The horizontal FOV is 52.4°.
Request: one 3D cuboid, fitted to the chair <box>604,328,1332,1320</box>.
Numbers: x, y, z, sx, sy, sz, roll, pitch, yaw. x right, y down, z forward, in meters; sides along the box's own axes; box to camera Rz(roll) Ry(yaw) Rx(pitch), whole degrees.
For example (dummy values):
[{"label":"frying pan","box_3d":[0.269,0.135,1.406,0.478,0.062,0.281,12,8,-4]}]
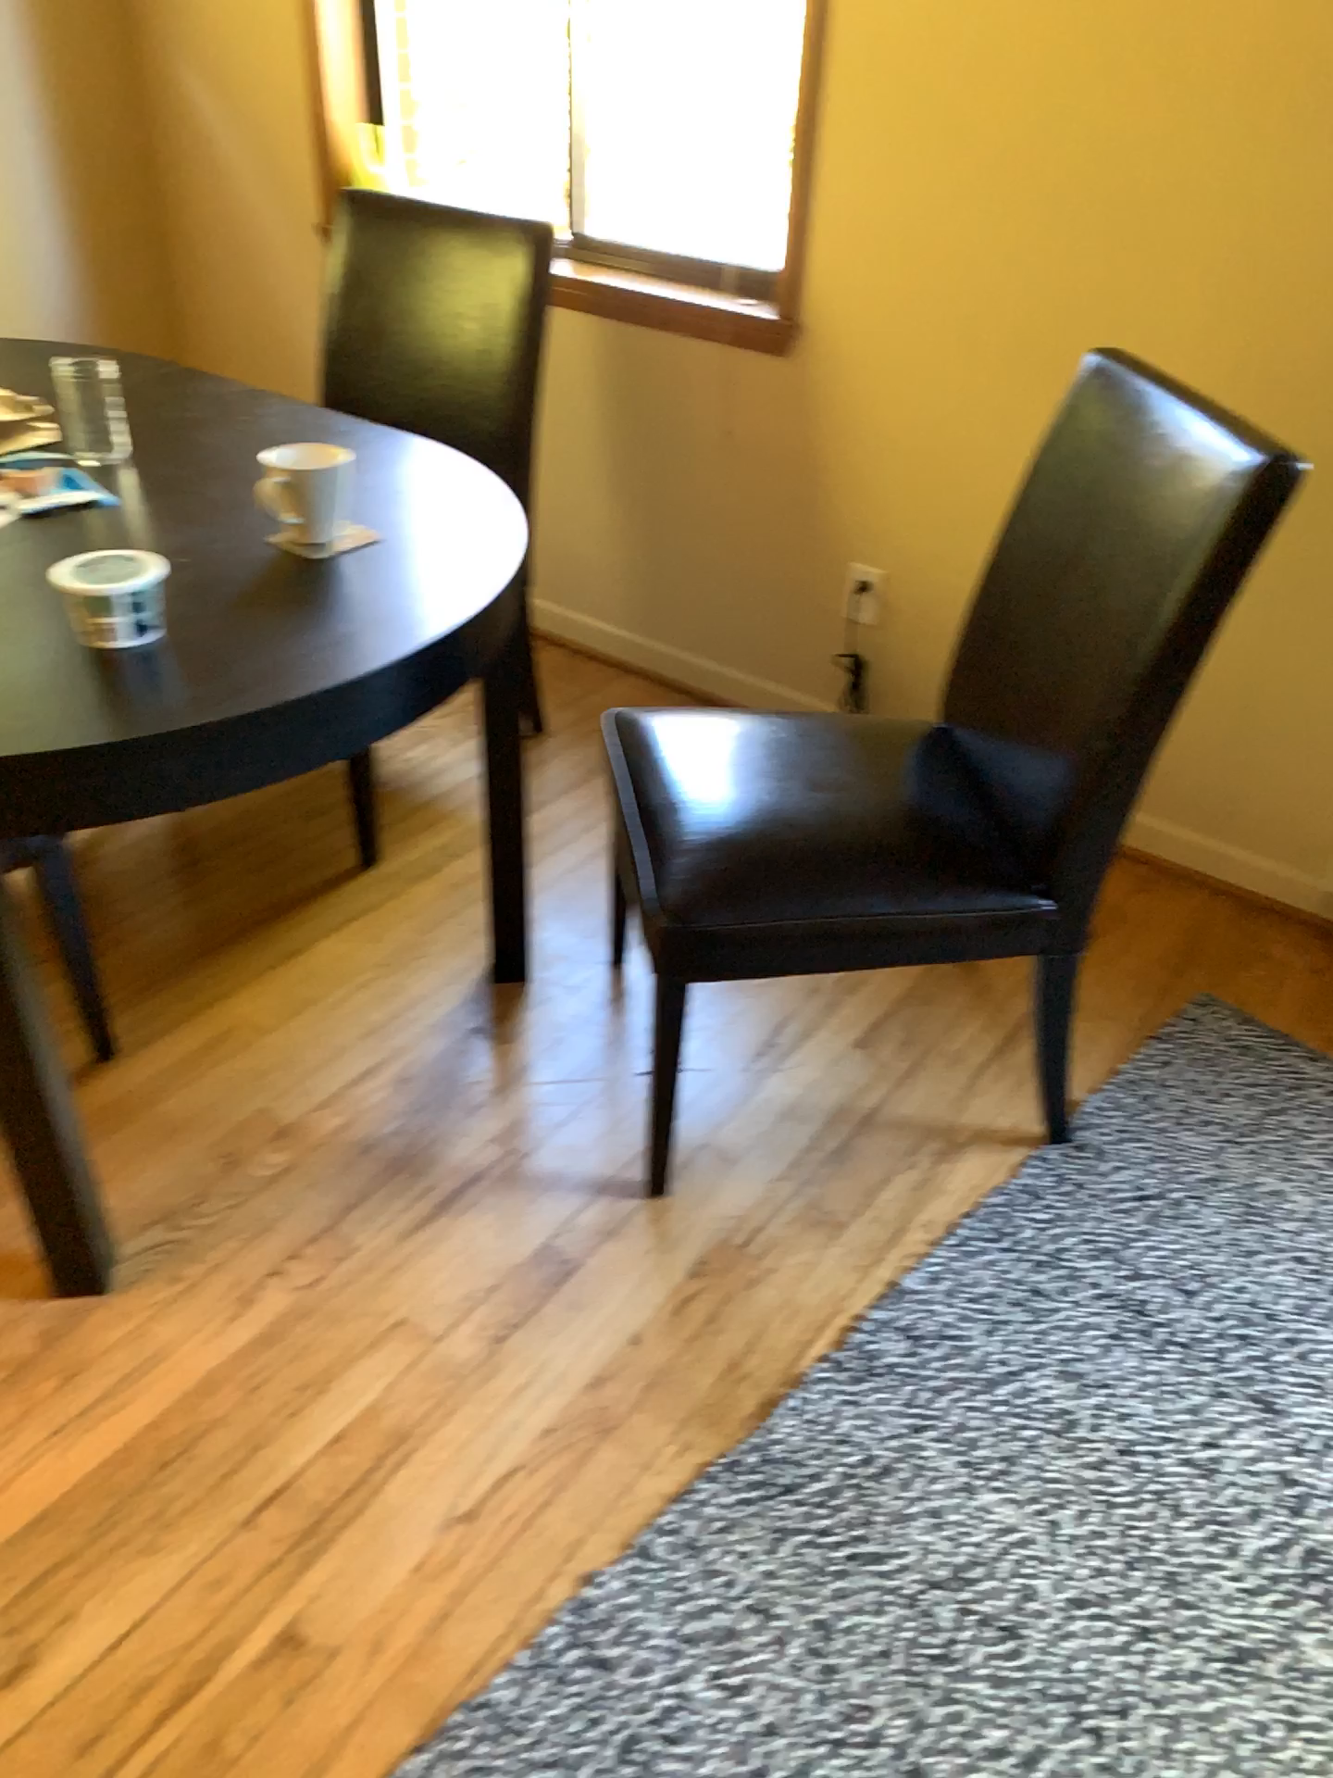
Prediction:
[{"label":"chair","box_3d":[0.286,-0.082,1.764,0.650,1.084,0.624,-4,35,-9]}]
